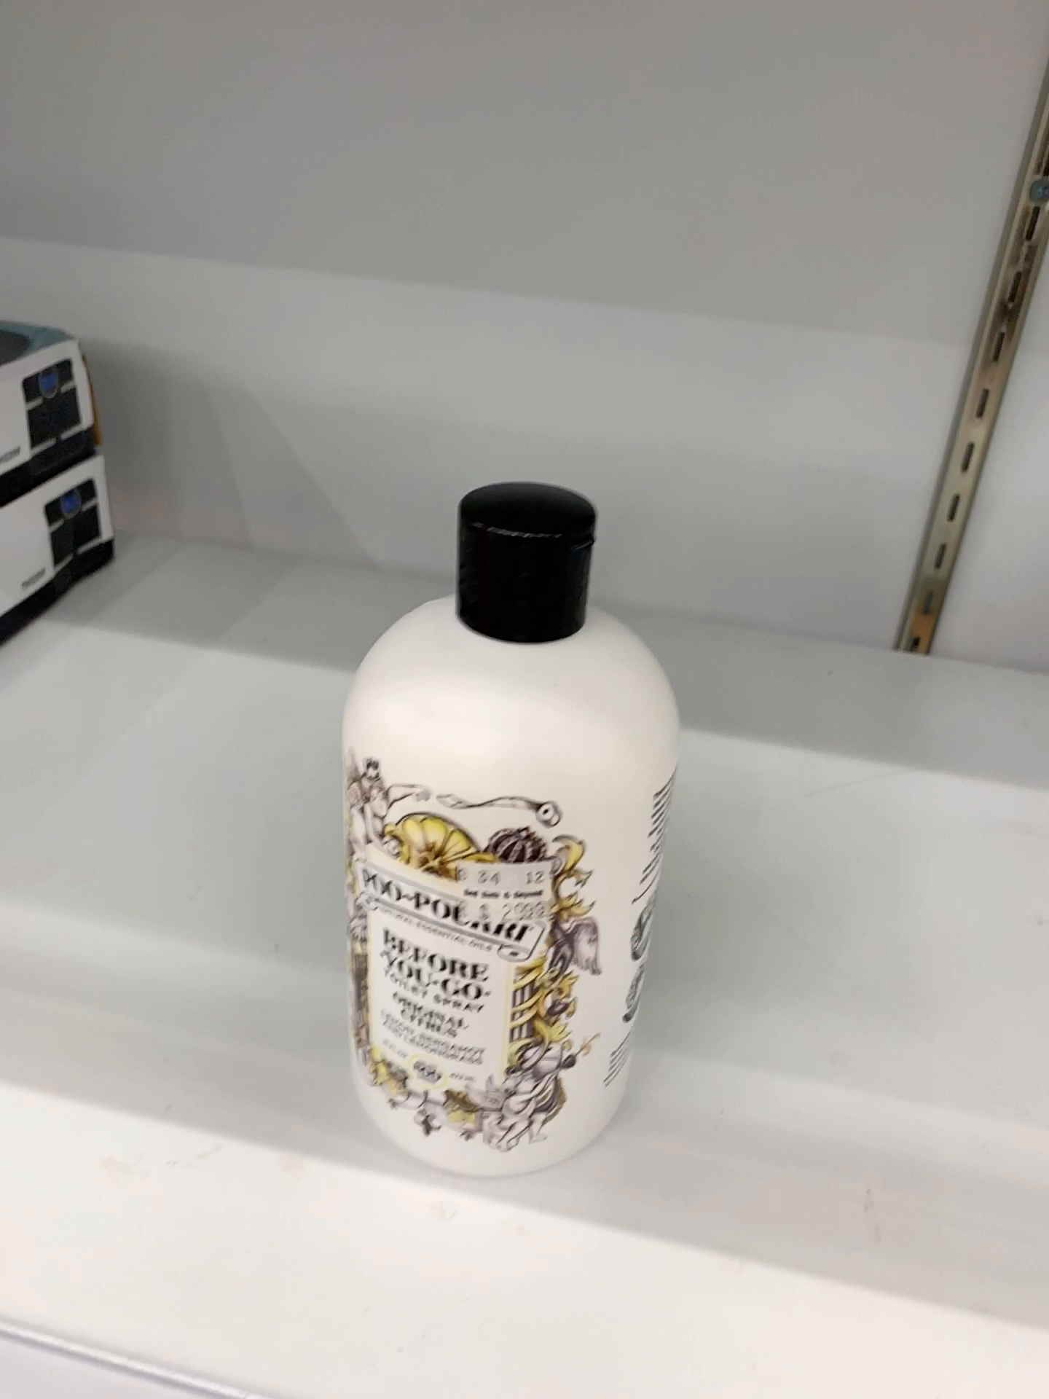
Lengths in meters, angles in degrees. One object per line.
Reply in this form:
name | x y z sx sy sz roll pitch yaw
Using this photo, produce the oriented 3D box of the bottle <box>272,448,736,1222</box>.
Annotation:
bottle | -0.005 0.032 0.253 0.073 0.153 0.070 4 31 -2
